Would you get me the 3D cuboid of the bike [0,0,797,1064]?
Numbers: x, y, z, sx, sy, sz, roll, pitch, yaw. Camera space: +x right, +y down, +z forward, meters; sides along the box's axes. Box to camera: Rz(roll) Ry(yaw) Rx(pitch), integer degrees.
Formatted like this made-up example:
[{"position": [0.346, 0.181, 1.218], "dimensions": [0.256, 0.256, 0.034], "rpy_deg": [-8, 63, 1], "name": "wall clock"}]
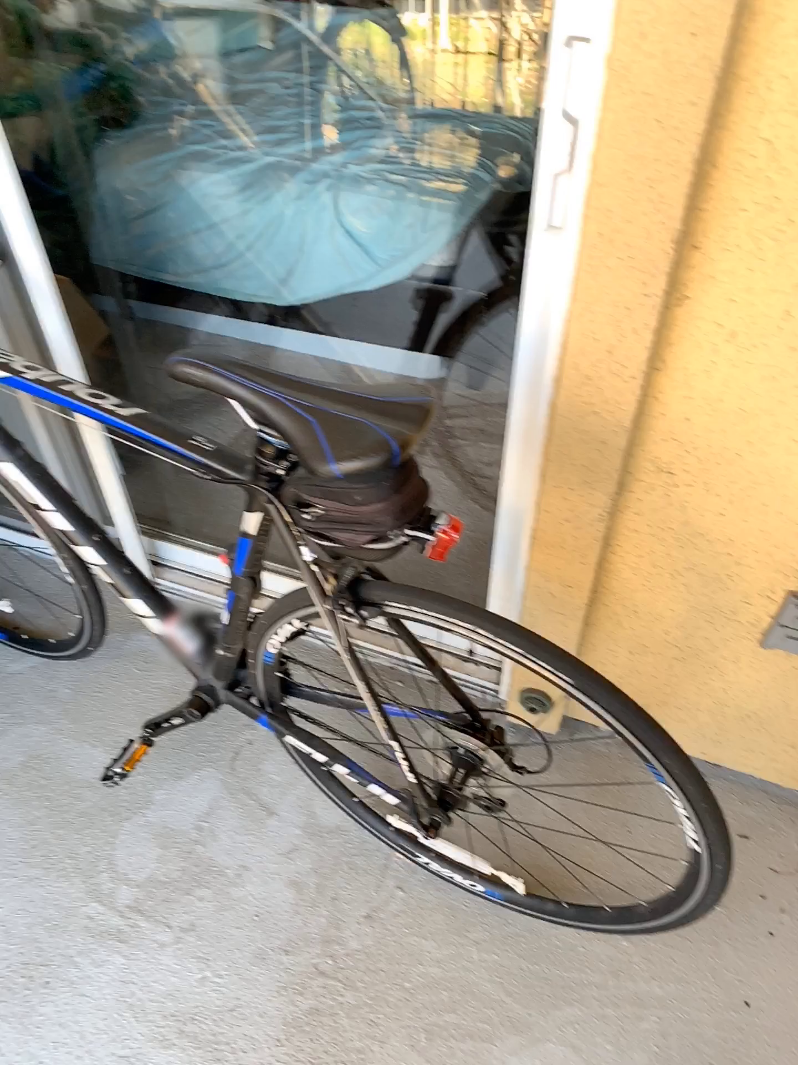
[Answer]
[{"position": [-0.305, 0.024, 1.047], "dimensions": [1.503, 0.932, 0.364], "rpy_deg": [22, 51, 15], "name": "bike"}]
